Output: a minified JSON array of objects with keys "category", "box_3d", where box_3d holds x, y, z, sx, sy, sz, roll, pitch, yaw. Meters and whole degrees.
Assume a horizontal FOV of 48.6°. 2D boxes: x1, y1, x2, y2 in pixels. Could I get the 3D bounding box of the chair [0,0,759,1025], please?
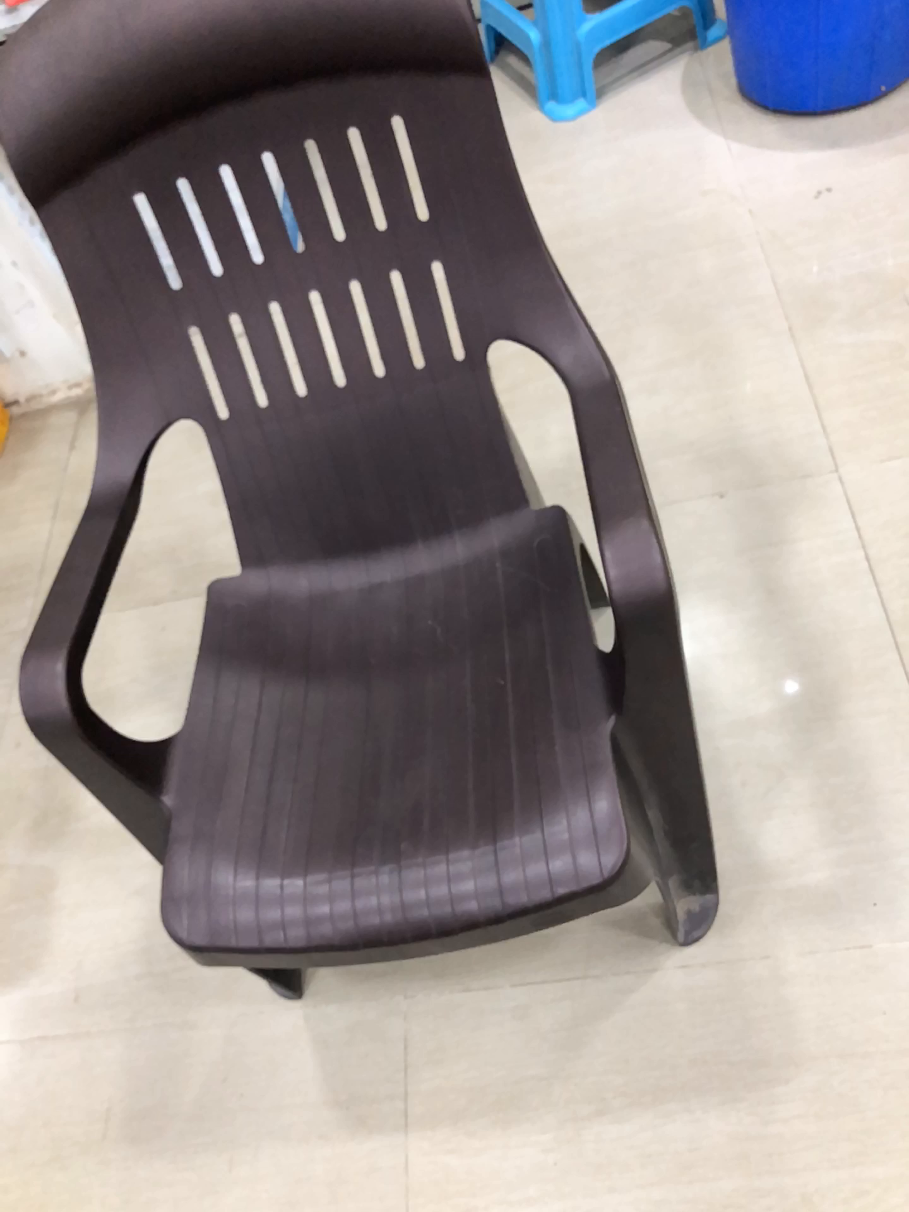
[{"category":"chair","box_3d":[-0.109,-0.076,0.994,0.630,0.846,0.683,-12,54,10]}]
